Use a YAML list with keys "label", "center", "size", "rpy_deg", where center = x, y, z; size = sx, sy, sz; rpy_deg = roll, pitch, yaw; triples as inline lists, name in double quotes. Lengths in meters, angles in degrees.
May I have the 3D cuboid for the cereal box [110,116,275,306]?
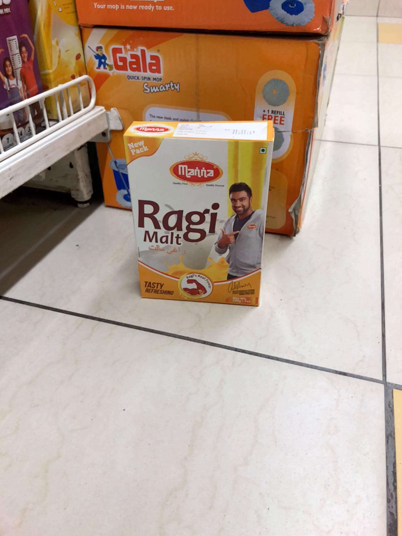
- label: "cereal box"
  center: [-0.004, -0.052, 0.447]
  size: [0.140, 0.179, 0.050]
  rpy_deg: [4, 35, 6]
